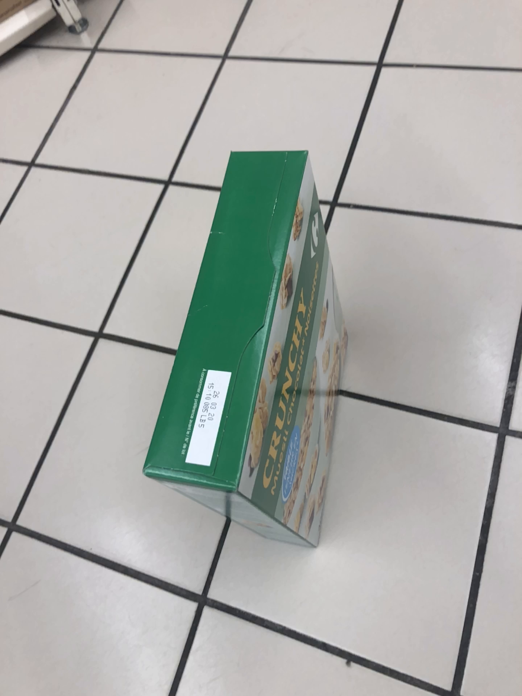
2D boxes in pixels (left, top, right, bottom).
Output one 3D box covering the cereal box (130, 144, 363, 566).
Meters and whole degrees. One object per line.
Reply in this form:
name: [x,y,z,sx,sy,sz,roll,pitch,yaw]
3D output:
cereal box: [0.018,0.029,0.392,0.060,0.249,0.201,5,67,16]
